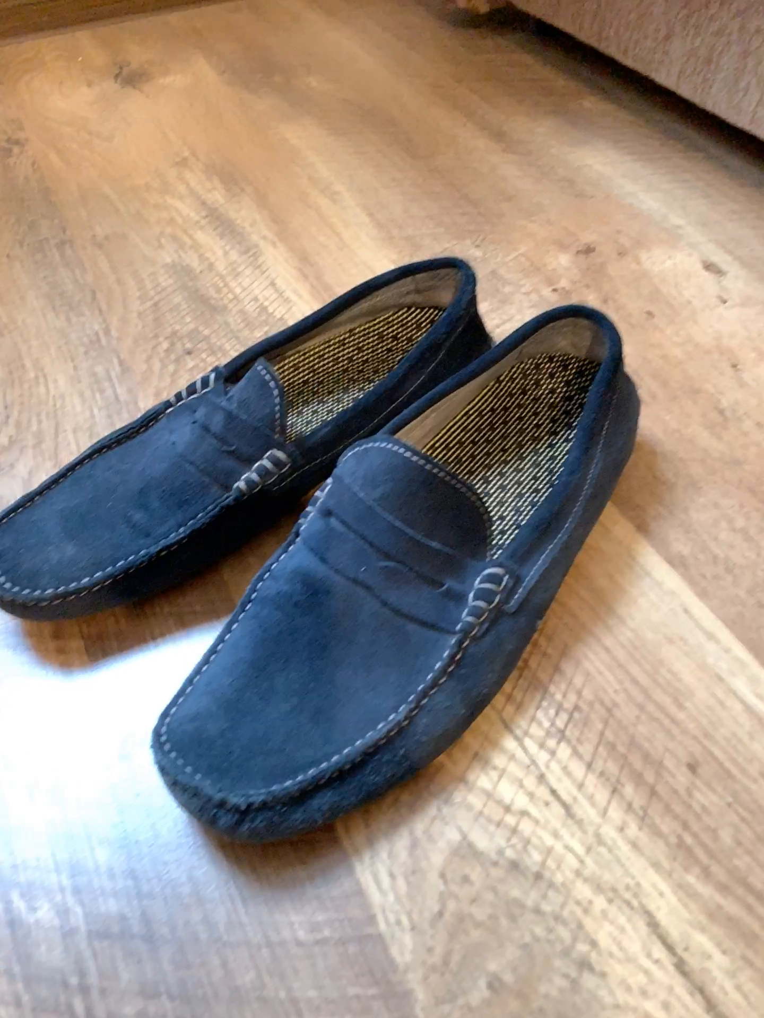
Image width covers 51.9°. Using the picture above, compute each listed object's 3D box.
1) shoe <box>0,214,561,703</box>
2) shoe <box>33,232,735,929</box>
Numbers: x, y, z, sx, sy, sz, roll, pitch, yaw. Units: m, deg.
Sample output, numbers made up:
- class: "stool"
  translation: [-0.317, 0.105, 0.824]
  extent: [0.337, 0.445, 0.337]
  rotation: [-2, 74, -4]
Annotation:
- class: "shoe"
  translation: [-0.055, -0.039, 0.364]
  extent: [0.270, 0.070, 0.100]
  rotation: [-31, 55, -21]
- class: "shoe"
  translation: [0.024, -0.001, 0.322]
  extent: [0.110, 0.070, 0.291]
  rotation: [30, 57, 25]
